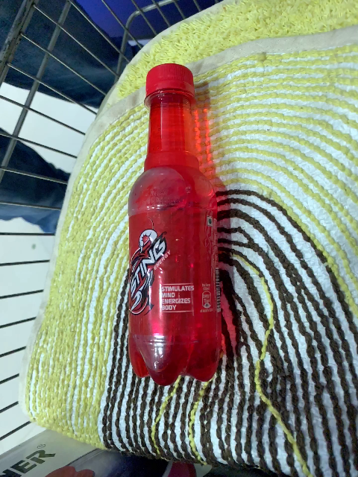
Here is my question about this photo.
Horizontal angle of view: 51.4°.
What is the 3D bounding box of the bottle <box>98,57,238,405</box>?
[{"bbox_3d":[-0.008,-0.004,0.211,0.060,0.040,0.170,-6,83,29],"label":"bottle"}]
